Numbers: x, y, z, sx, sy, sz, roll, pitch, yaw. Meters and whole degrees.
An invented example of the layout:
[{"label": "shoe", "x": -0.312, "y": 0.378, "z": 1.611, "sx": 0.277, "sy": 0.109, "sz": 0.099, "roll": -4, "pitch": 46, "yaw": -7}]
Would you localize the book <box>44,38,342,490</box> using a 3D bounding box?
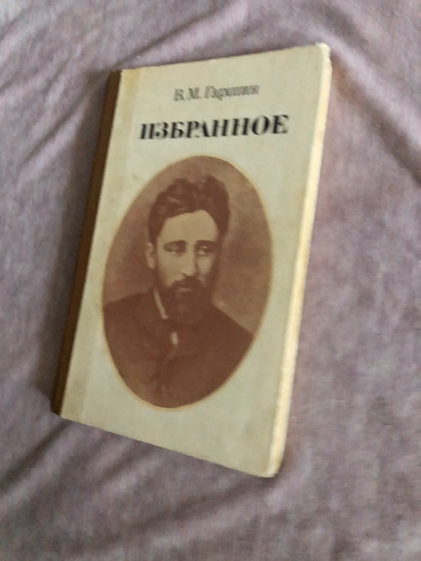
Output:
[{"label": "book", "x": -0.013, "y": -0.017, "z": 0.271, "sx": 0.142, "sy": 0.030, "sz": 0.220, "roll": 6, "pitch": 85, "yaw": 27}]
